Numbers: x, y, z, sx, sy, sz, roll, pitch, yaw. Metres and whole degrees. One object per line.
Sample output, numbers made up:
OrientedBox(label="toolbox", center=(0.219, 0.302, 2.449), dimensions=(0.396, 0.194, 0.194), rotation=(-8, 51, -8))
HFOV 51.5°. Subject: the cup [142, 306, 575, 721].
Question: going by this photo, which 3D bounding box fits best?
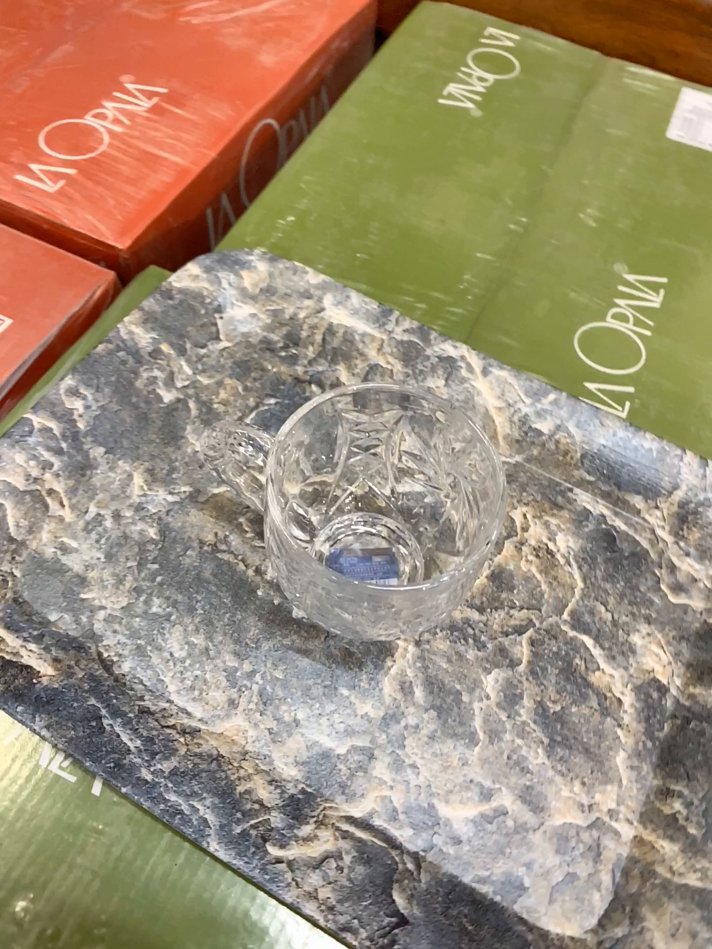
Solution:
OrientedBox(label="cup", center=(0.002, 0.013, 0.233), dimensions=(0.100, 0.070, 0.080), rotation=(18, 58, 6))
